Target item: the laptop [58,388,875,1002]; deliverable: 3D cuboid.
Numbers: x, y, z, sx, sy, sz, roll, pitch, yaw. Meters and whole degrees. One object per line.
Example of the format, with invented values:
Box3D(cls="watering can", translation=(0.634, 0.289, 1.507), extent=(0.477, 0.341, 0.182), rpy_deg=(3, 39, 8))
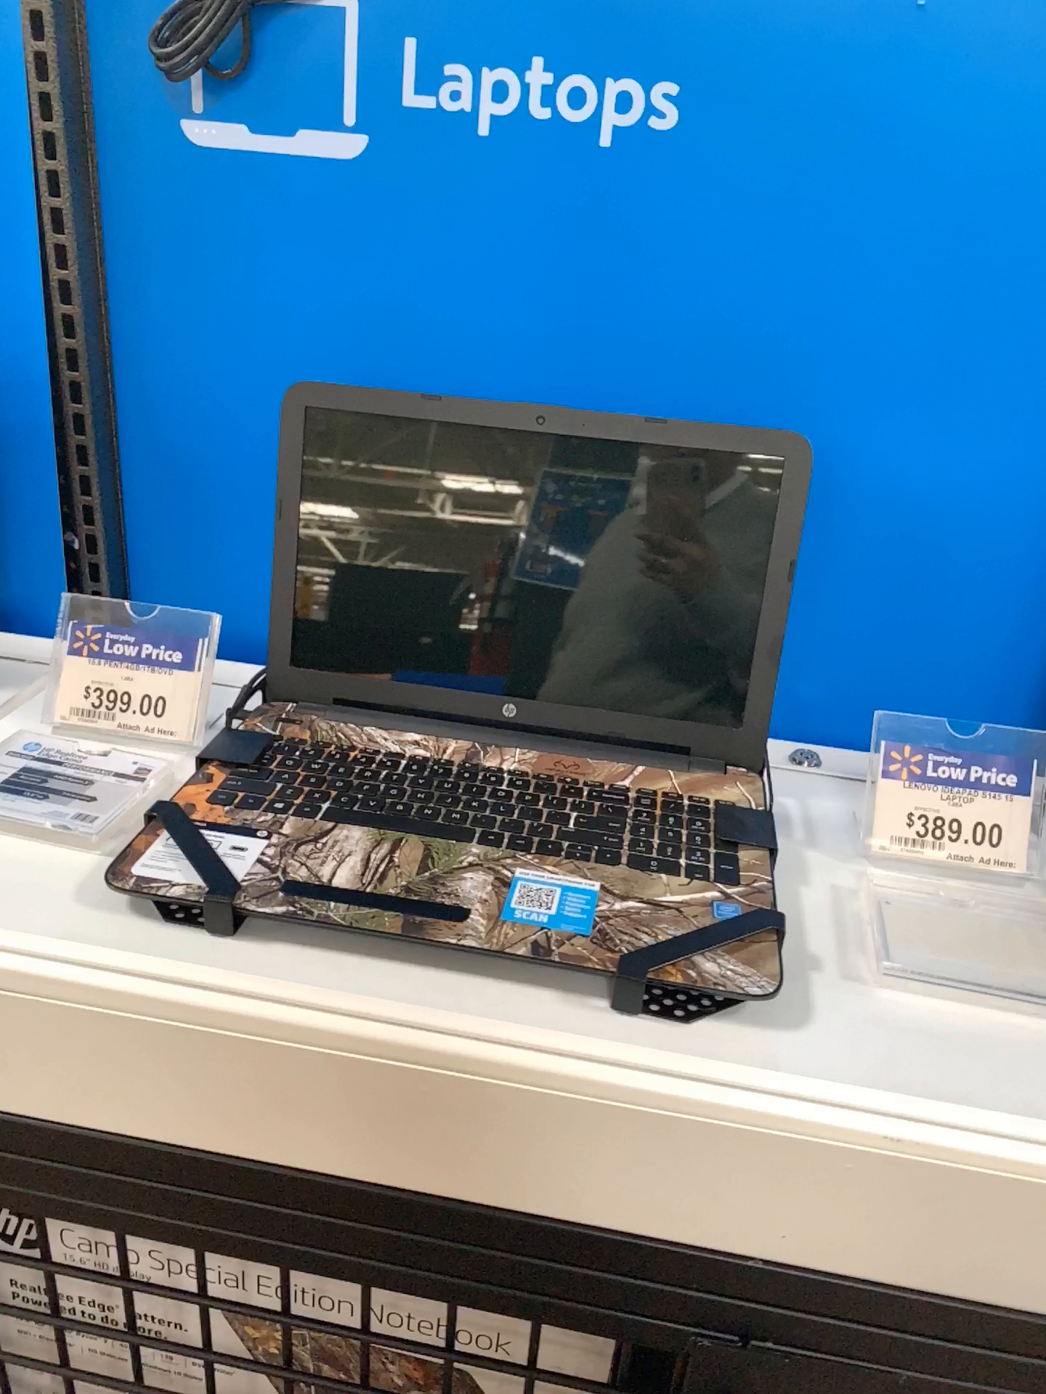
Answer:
Box3D(cls="laptop", translation=(-0.021, -0.035, 0.662), extent=(0.374, 0.227, 0.304), rpy_deg=(8, 25, 7))
